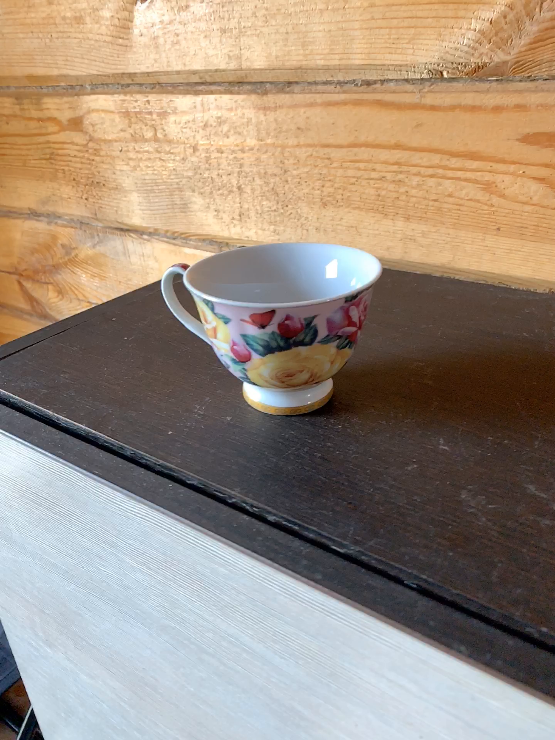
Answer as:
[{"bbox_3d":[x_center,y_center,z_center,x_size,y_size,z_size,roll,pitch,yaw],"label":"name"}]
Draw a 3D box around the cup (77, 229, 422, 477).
[{"bbox_3d":[-0.010,-0.020,0.271,0.120,0.059,0.101,16,31,30],"label":"cup"}]
